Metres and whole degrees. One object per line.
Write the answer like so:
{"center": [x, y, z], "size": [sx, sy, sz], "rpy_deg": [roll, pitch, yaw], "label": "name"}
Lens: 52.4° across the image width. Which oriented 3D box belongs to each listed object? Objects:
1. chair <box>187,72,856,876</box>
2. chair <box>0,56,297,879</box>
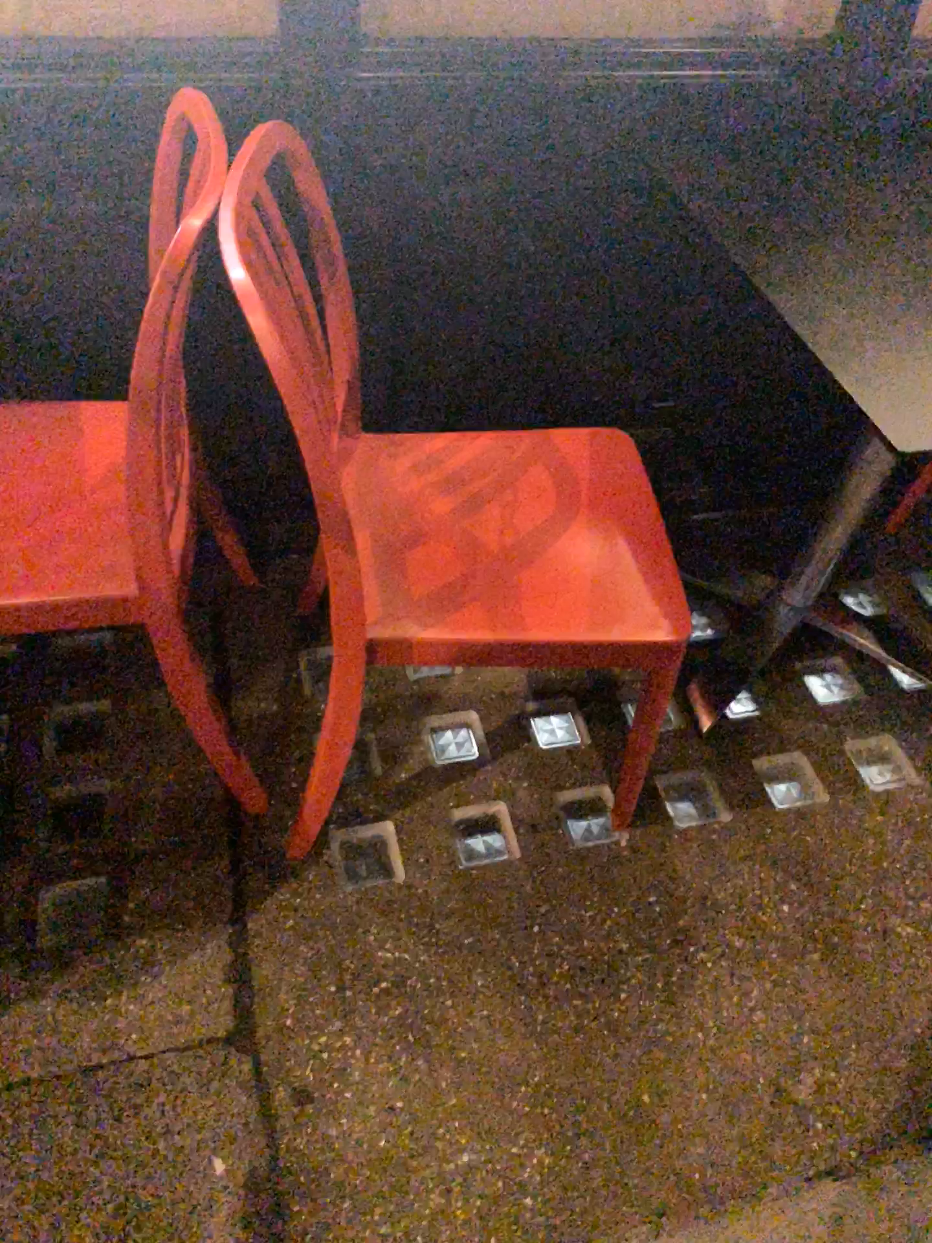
{"center": [-0.015, -0.169, 1.269], "size": [0.560, 0.851, 0.576], "rpy_deg": [-4, 46, -10], "label": "chair"}
{"center": [-0.548, -0.173, 1.228], "size": [0.540, 0.851, 0.545], "rpy_deg": [-7, 46, -12], "label": "chair"}
